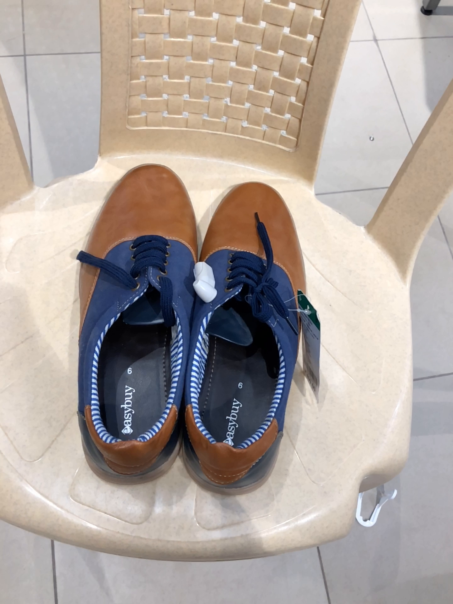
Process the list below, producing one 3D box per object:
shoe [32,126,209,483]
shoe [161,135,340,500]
[{"bbox_3d":[-0.072,0.005,0.393,0.103,0.113,0.254,1,70,-7],"label":"shoe"},{"bbox_3d":[0.018,0.016,0.398,0.103,0.120,0.252,8,69,-4],"label":"shoe"}]
